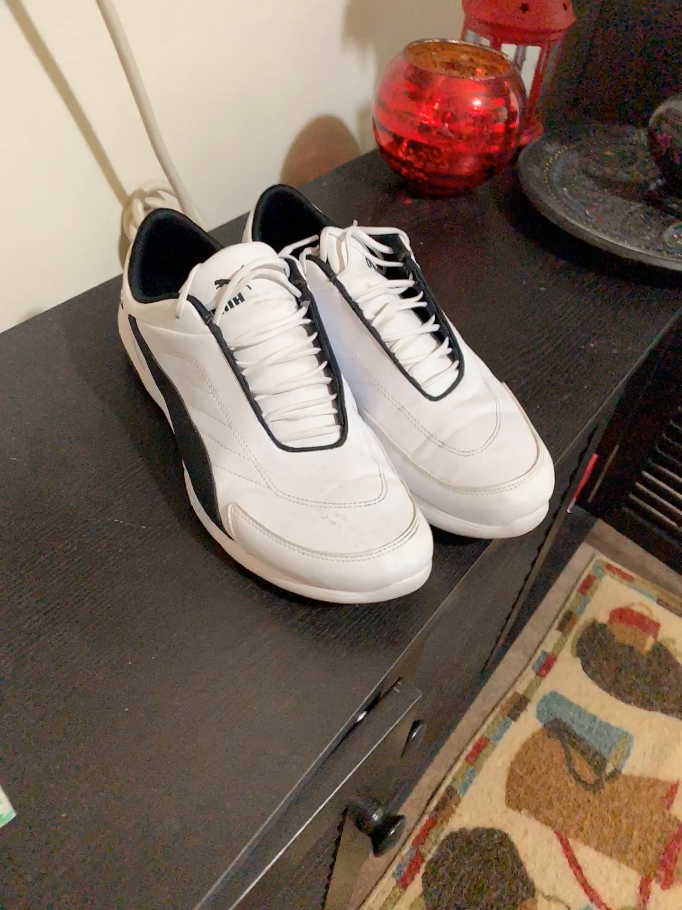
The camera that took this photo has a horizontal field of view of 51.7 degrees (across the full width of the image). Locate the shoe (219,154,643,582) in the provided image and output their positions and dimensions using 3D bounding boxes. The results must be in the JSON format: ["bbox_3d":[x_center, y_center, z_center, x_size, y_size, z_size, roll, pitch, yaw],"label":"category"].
[{"bbox_3d":[0.033,-0.075,0.452,0.100,0.089,0.292,-22,56,-25],"label":"shoe"}]

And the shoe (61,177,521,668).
[{"bbox_3d":[-0.046,-0.041,0.407,0.120,0.089,0.282,-22,56,-25],"label":"shoe"}]
